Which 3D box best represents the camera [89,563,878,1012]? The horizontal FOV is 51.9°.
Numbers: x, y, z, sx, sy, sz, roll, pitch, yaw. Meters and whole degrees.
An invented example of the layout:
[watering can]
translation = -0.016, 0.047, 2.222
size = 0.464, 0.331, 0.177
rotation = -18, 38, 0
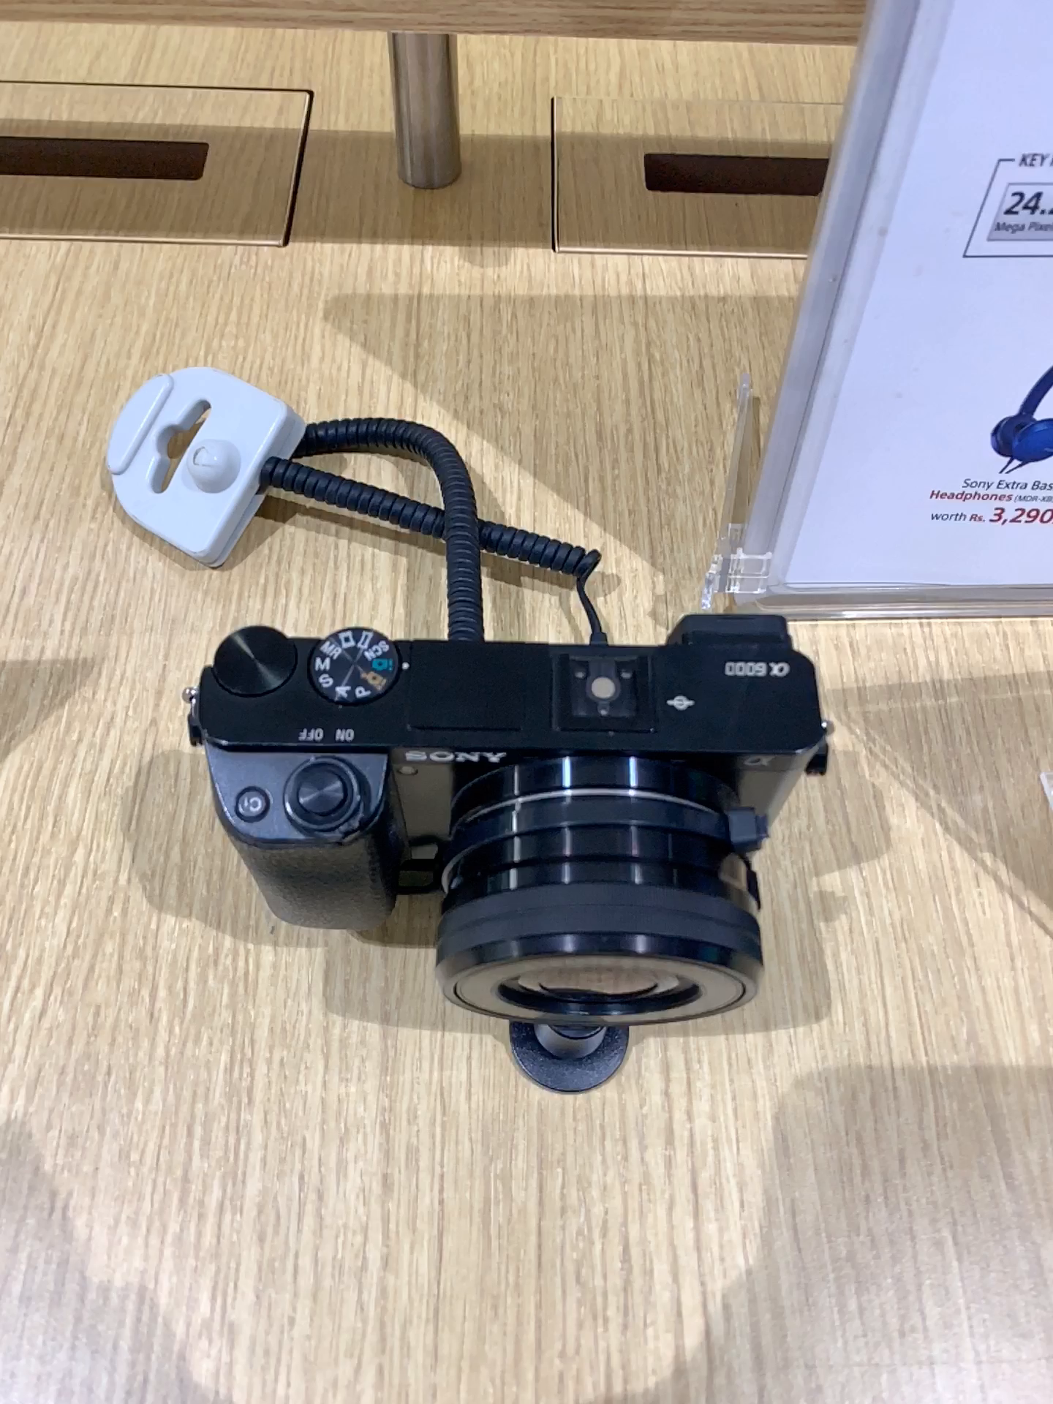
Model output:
[camera]
translation = -0.008, 0.020, 0.226
size = 0.130, 0.070, 0.070
rotation = 0, 61, -1
